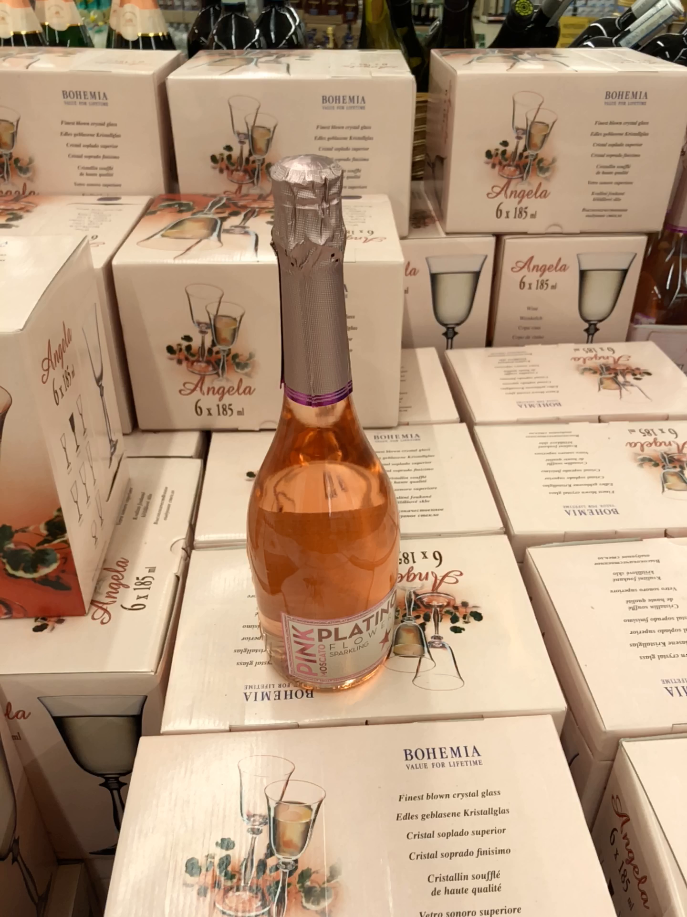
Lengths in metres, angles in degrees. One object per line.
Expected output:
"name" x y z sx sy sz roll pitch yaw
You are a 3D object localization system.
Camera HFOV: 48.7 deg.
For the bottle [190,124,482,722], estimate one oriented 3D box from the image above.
"bottle" -0.009 -0.008 0.422 0.100 0.308 0.100 0 33 0
